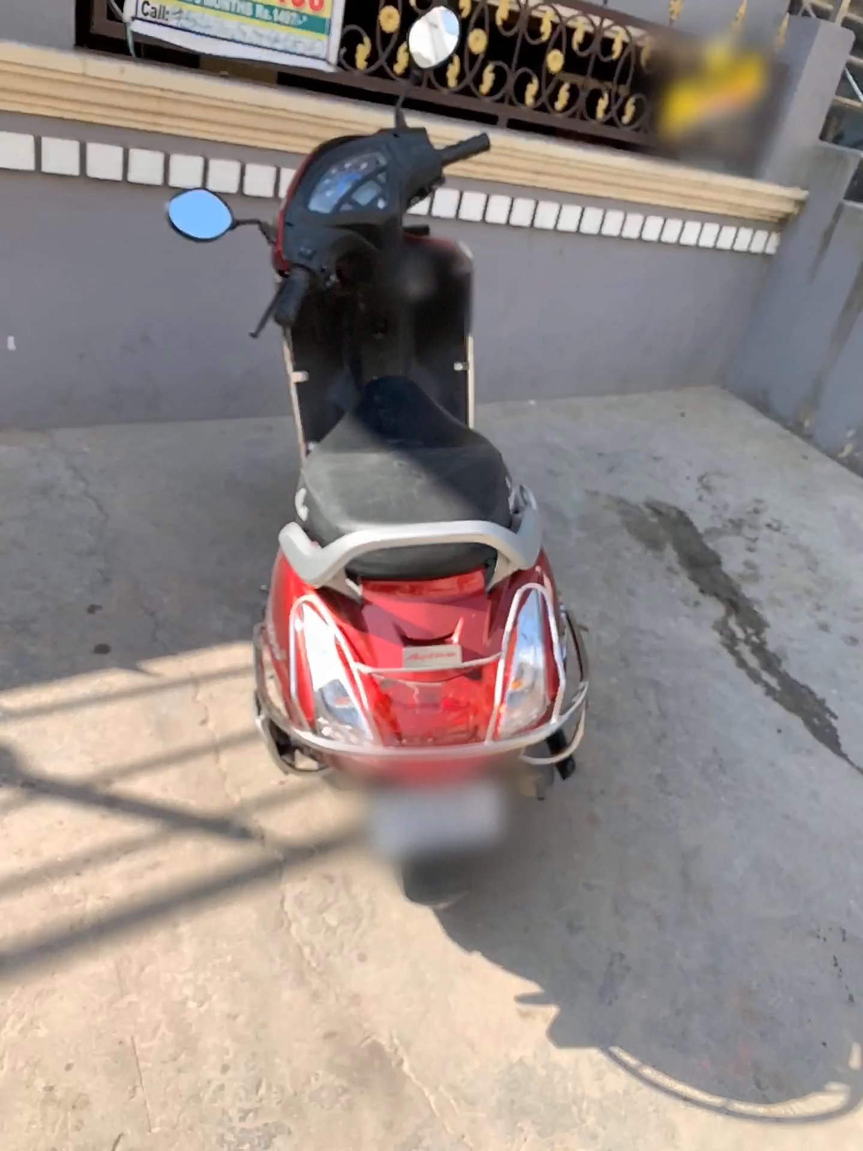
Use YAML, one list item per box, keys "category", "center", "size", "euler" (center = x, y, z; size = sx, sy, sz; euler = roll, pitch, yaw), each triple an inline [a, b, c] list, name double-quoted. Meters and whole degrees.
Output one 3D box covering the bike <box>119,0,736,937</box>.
- category: "bike"
  center: [-0.273, -0.421, 1.891]
  size: [0.623, 1.164, 1.763]
  euler: [3, 35, -18]
